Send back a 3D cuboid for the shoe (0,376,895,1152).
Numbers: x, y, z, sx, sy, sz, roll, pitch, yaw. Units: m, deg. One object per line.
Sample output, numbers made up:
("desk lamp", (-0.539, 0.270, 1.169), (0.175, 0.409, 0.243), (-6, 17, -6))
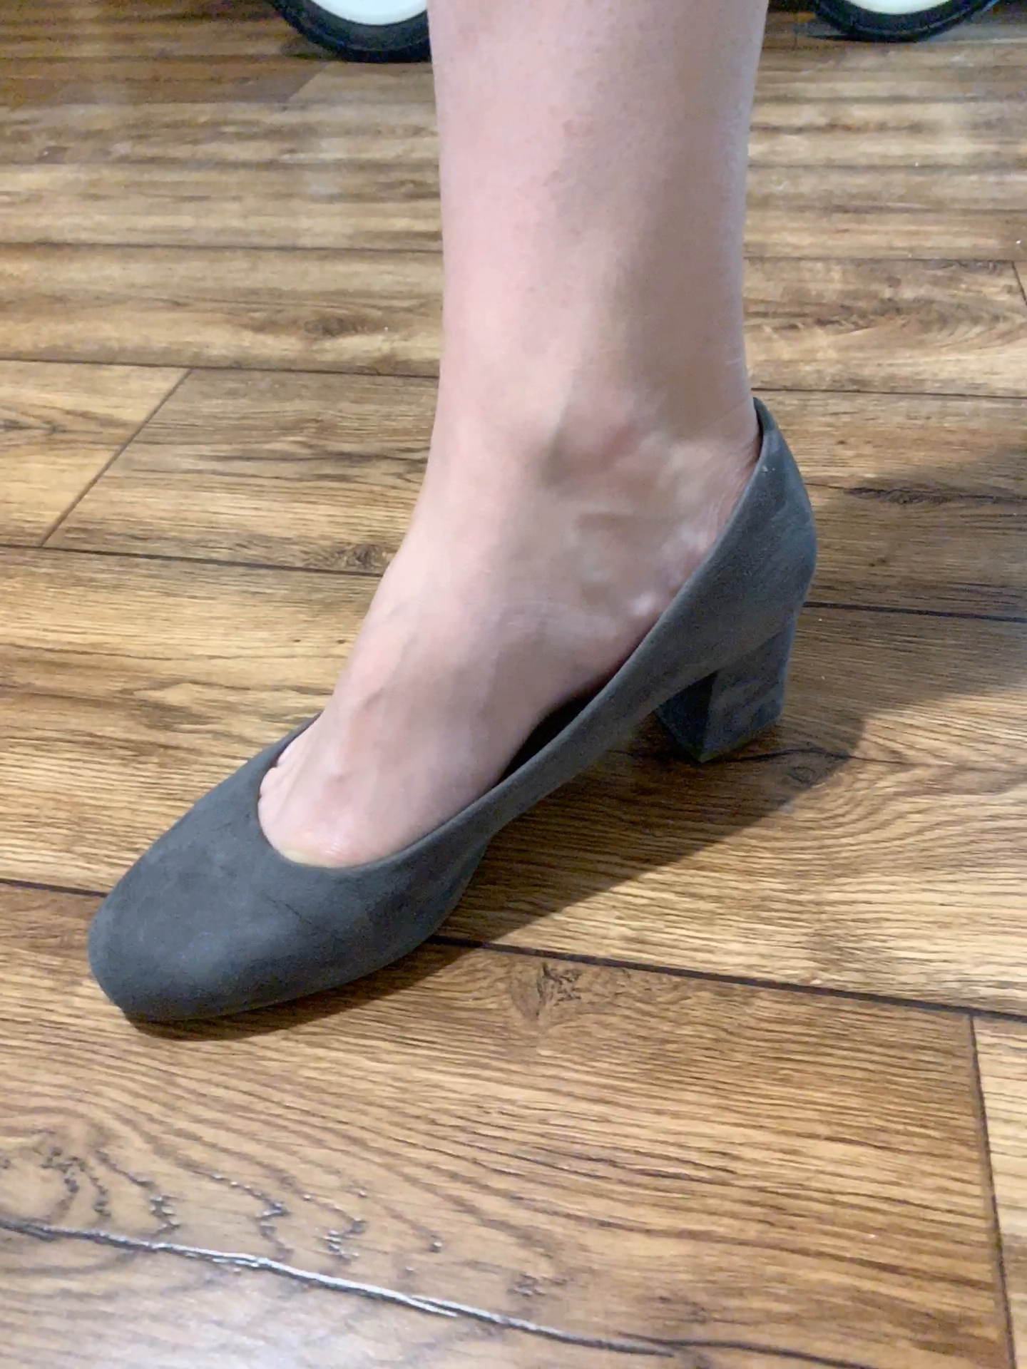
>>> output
("shoe", (-0.016, 0.012, 0.285), (0.210, 0.109, 0.084), (-23, 44, -19))
